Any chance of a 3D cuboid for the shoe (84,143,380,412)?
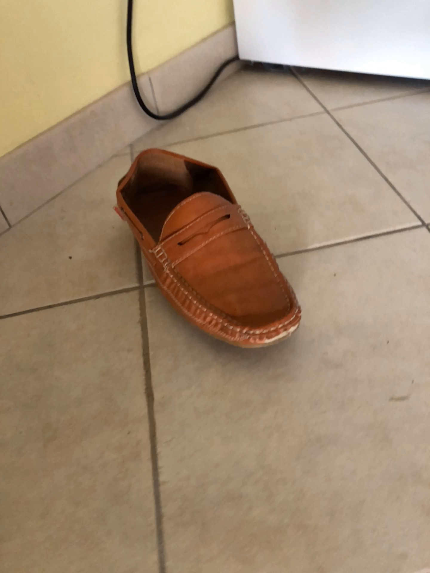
[{"bbox_3d":[-0.003,-0.034,0.448,0.130,0.070,0.281,-29,46,-19],"label":"shoe"}]
